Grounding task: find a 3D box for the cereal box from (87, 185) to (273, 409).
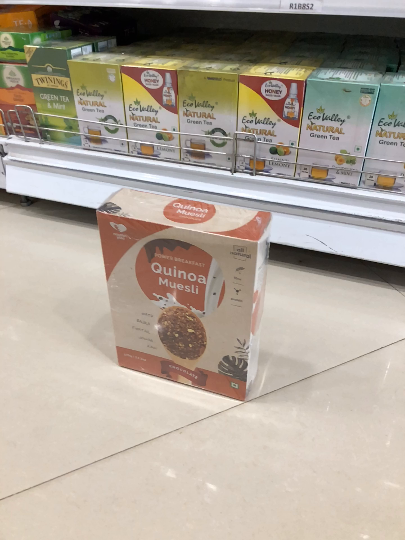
[{"bbox_3d":[-0.021,0.034,0.467,0.160,0.219,0.050,12,38,16],"label":"cereal box"}]
